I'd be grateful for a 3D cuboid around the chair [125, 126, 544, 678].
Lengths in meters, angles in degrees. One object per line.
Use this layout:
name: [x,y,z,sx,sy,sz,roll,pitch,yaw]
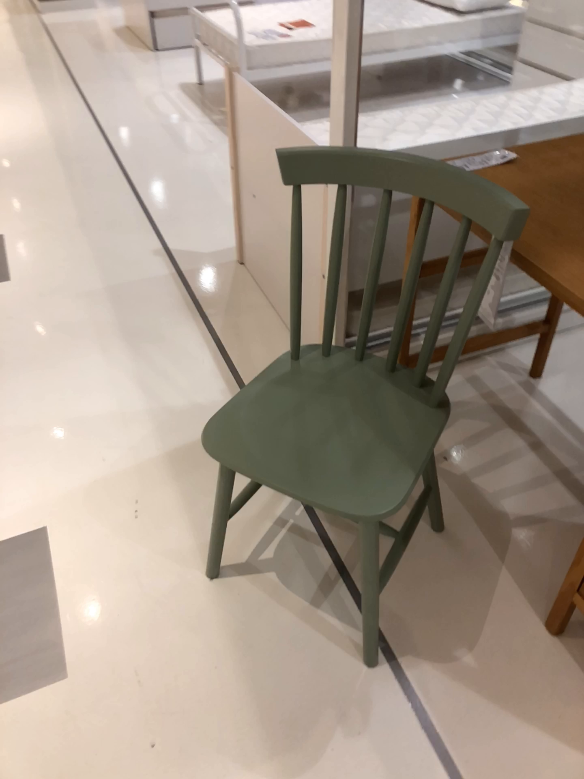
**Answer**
chair: [0.090,0.037,1.207,0.451,0.833,0.463,20,45,24]
